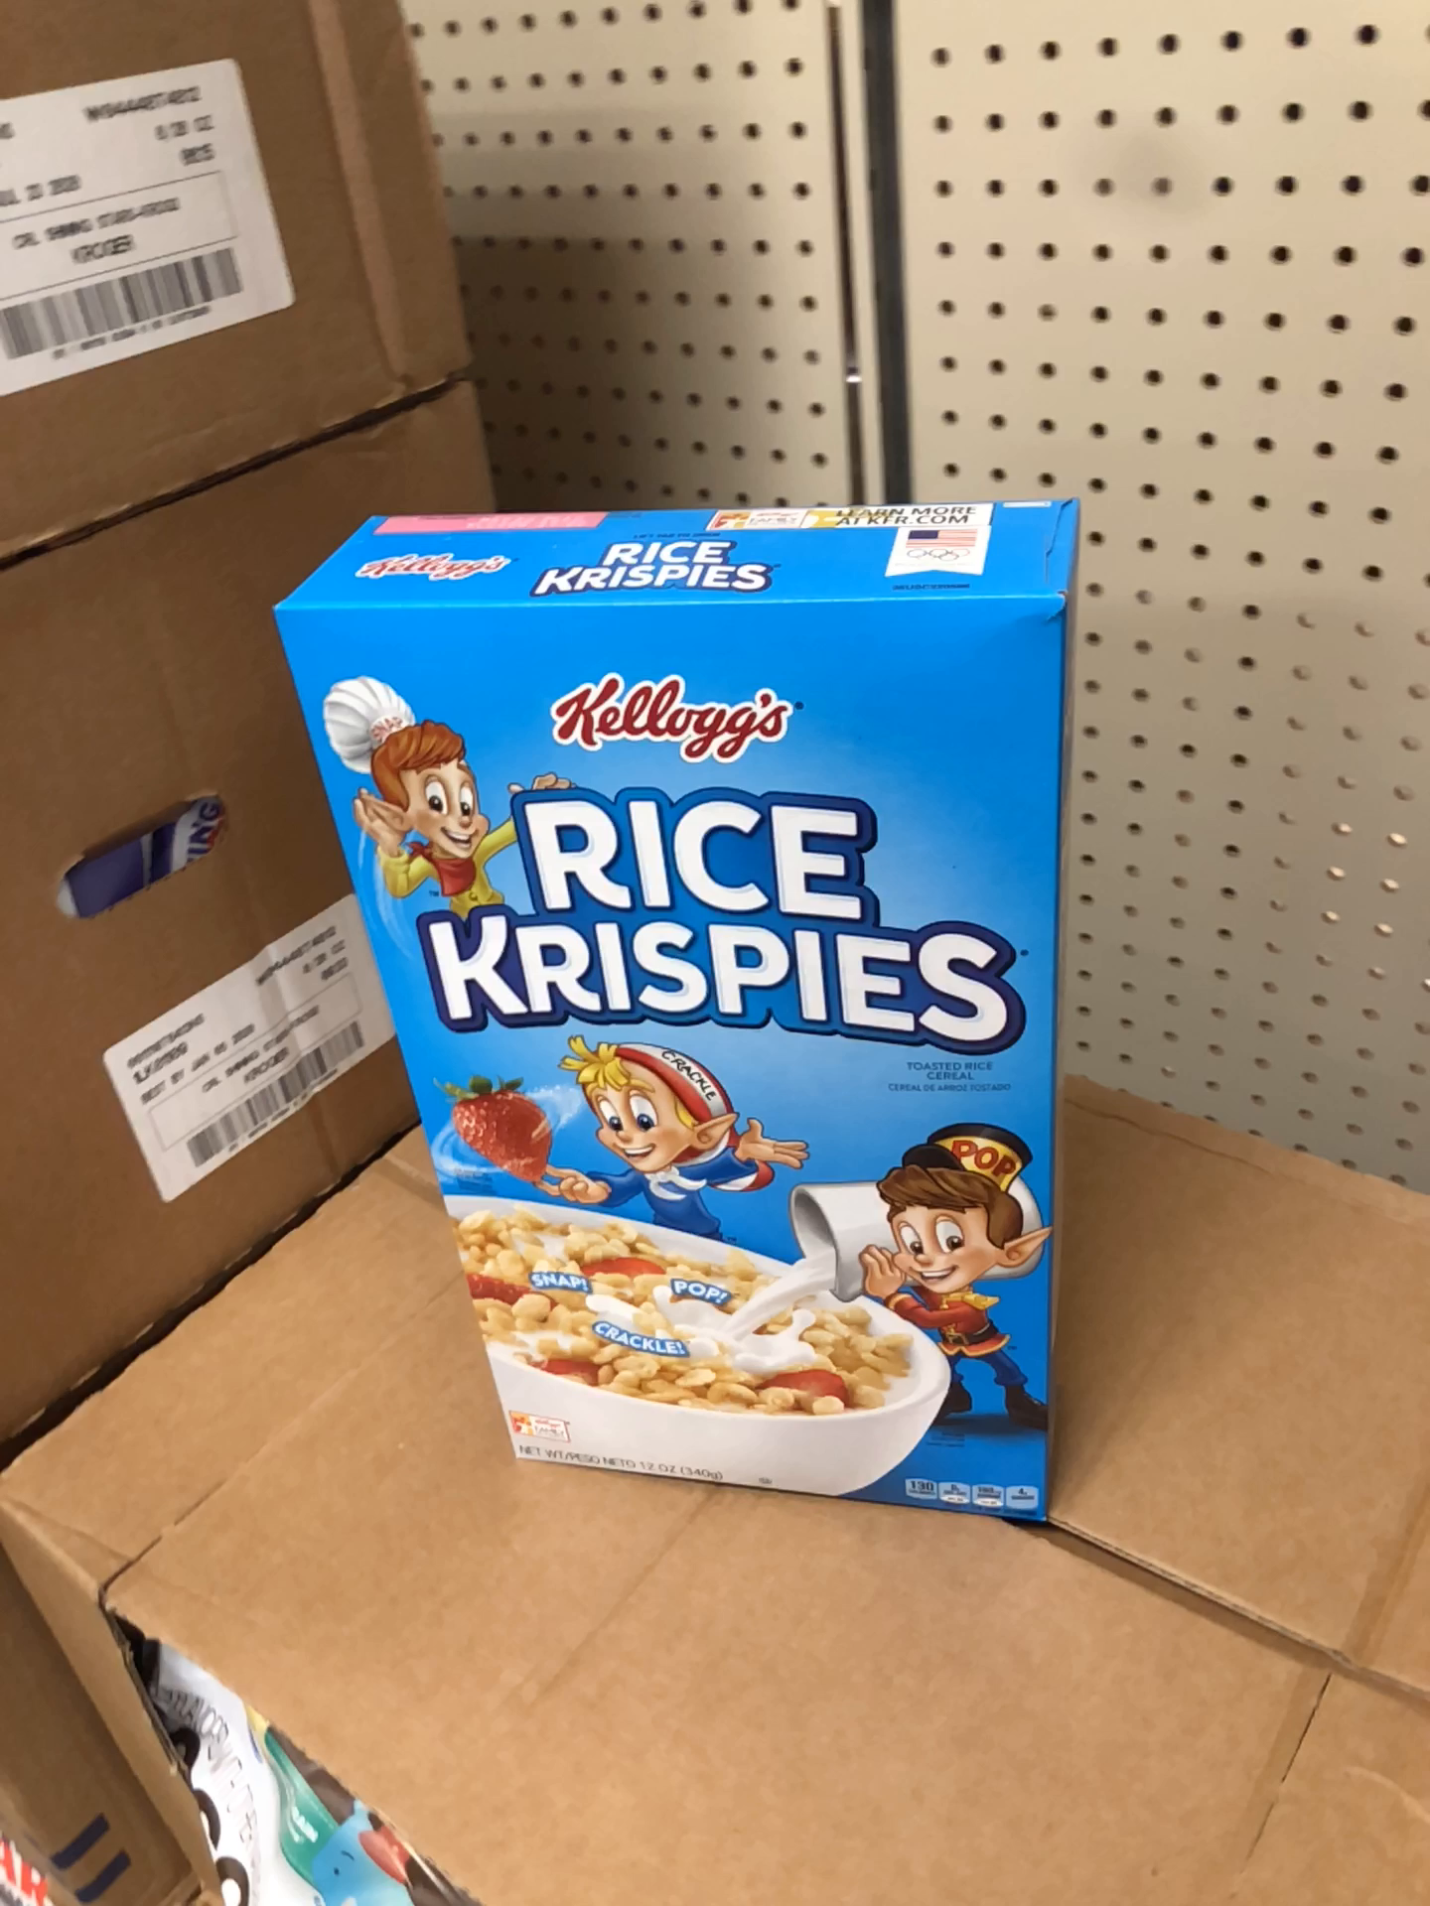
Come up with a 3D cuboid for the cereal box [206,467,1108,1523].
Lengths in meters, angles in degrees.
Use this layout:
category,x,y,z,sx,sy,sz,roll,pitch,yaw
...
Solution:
category,x,y,z,sx,sy,sz,roll,pitch,yaw
cereal box,0.007,0.032,0.479,0.210,0.329,0.070,2,37,15
